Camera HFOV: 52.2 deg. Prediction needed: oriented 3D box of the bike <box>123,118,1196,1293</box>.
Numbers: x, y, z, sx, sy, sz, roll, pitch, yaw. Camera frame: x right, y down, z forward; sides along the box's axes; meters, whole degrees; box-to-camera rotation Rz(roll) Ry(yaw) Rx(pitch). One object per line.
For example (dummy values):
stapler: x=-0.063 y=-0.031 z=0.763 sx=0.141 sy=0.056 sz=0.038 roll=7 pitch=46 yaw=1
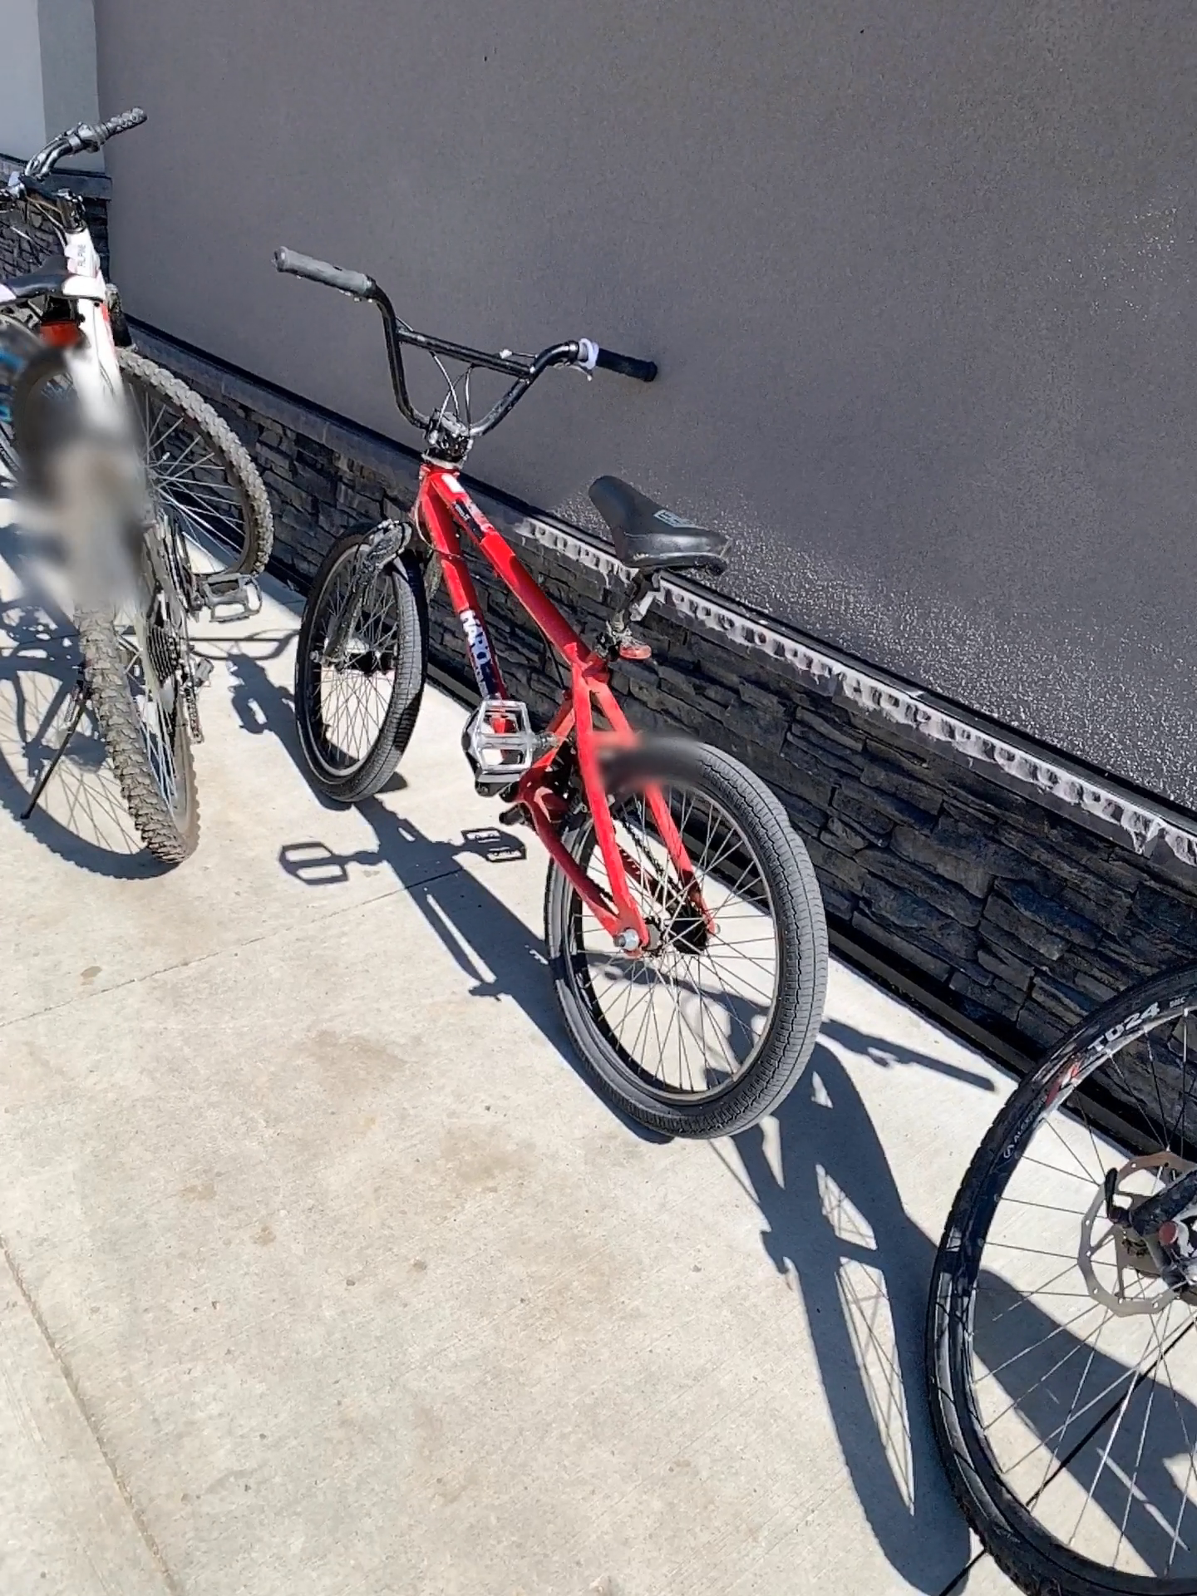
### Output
bike: x=-0.067 y=-0.288 z=1.751 sx=0.774 sy=0.908 sz=1.317 roll=-12 pitch=37 yaw=-34
